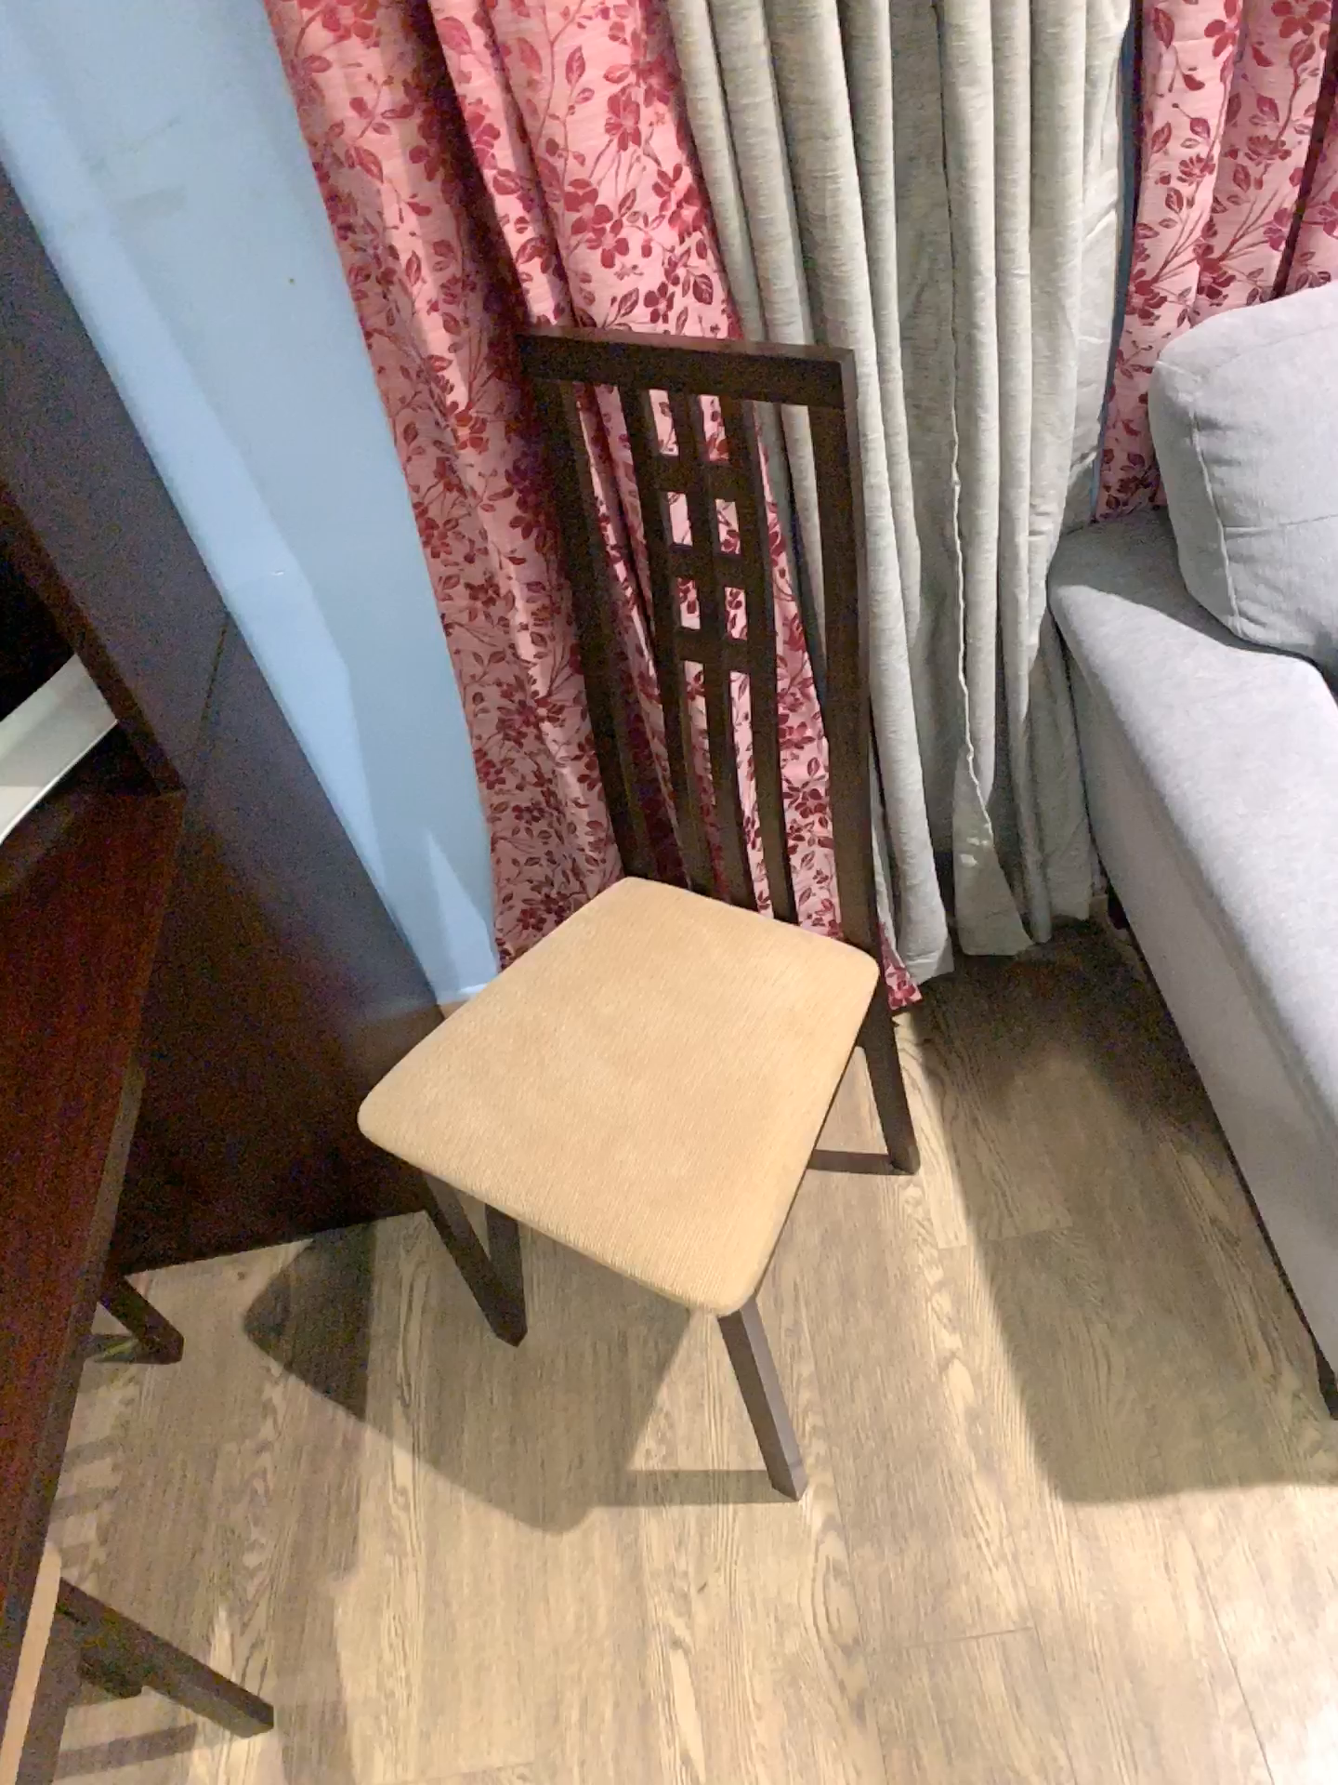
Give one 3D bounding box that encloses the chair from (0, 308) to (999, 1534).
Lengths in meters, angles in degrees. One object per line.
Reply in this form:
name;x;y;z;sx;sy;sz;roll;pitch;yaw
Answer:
chair;-0.056;0.060;1.276;0.531;0.977;0.510;16;53;29
